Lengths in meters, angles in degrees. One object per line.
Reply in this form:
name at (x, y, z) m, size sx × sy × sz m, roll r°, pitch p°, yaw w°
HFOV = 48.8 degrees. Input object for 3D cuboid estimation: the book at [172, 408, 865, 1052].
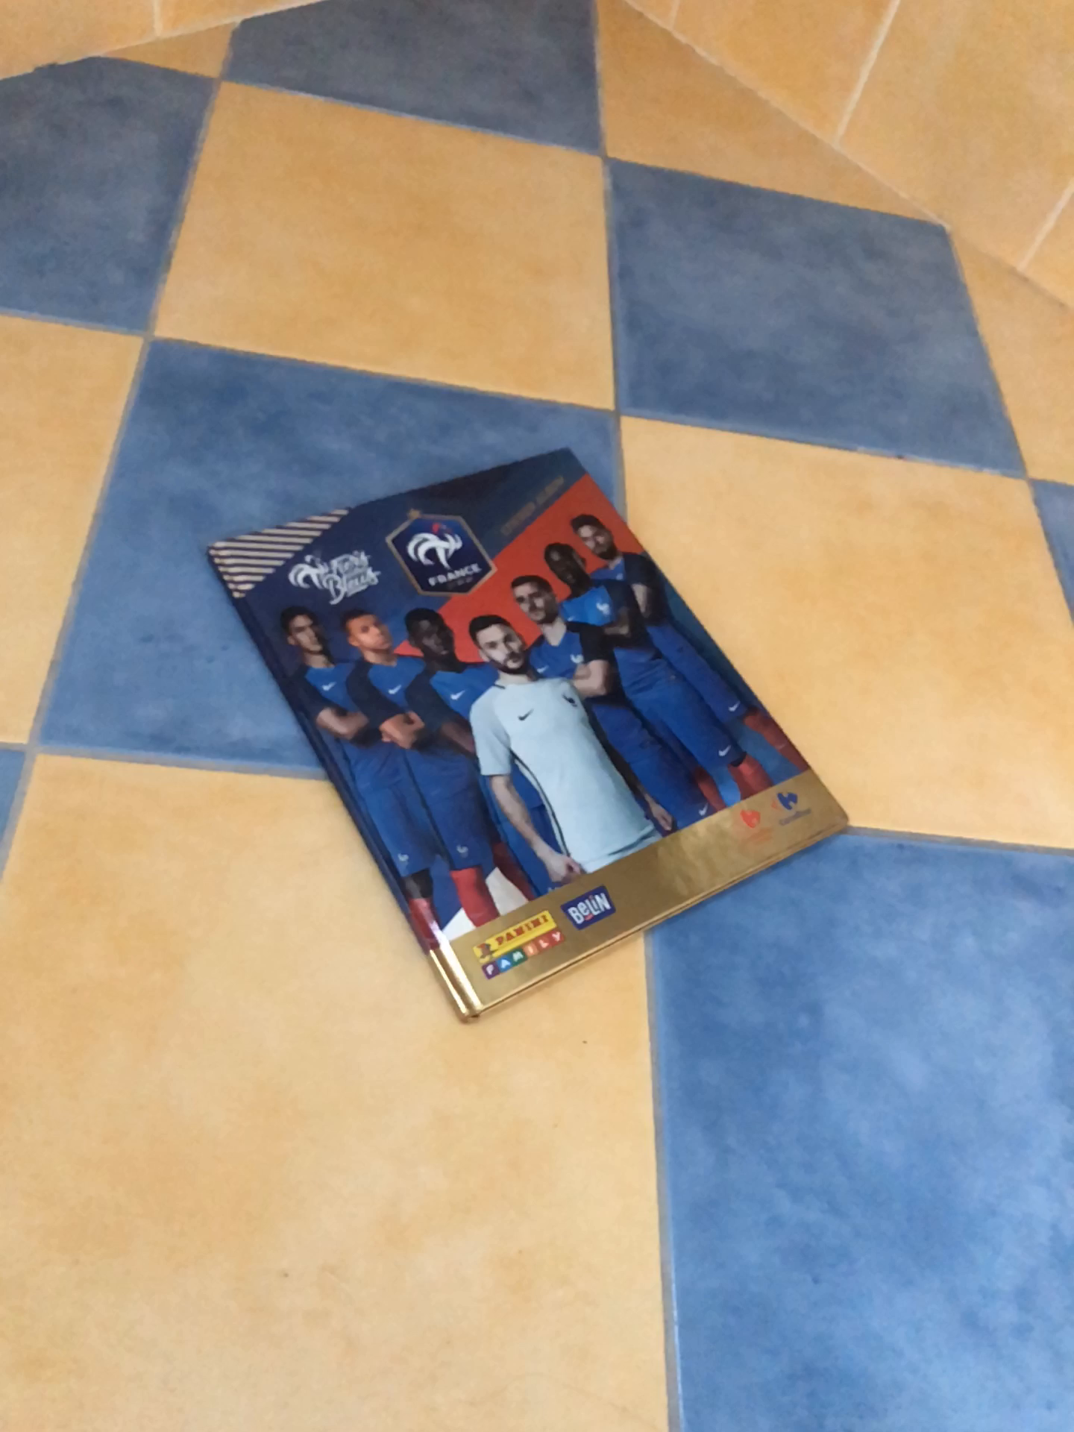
book at (-0.015, -0.021, 0.633) m, size 0.241 × 0.030 × 0.320 m, roll -22°, pitch 64°, yaw -26°
